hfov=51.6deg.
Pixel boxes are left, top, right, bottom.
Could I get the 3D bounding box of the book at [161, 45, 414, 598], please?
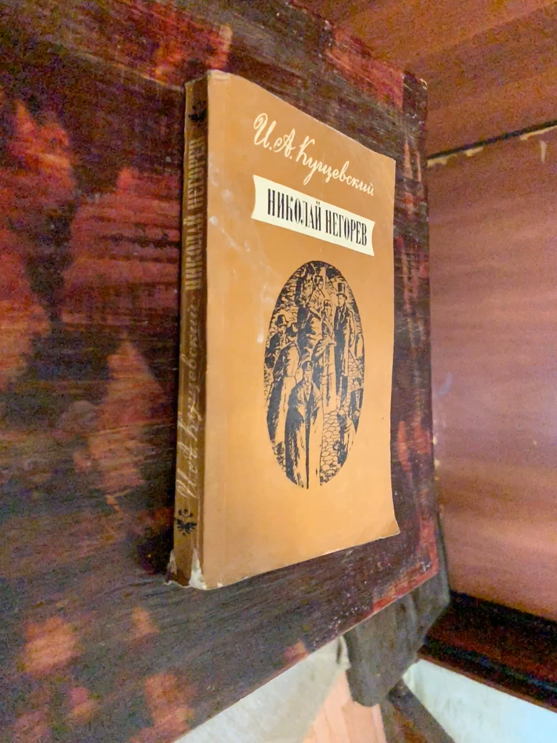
[{"bbox_3d":[0.012,-0.017,0.253,0.131,0.024,0.190,1,90,-45],"label":"book"}]
